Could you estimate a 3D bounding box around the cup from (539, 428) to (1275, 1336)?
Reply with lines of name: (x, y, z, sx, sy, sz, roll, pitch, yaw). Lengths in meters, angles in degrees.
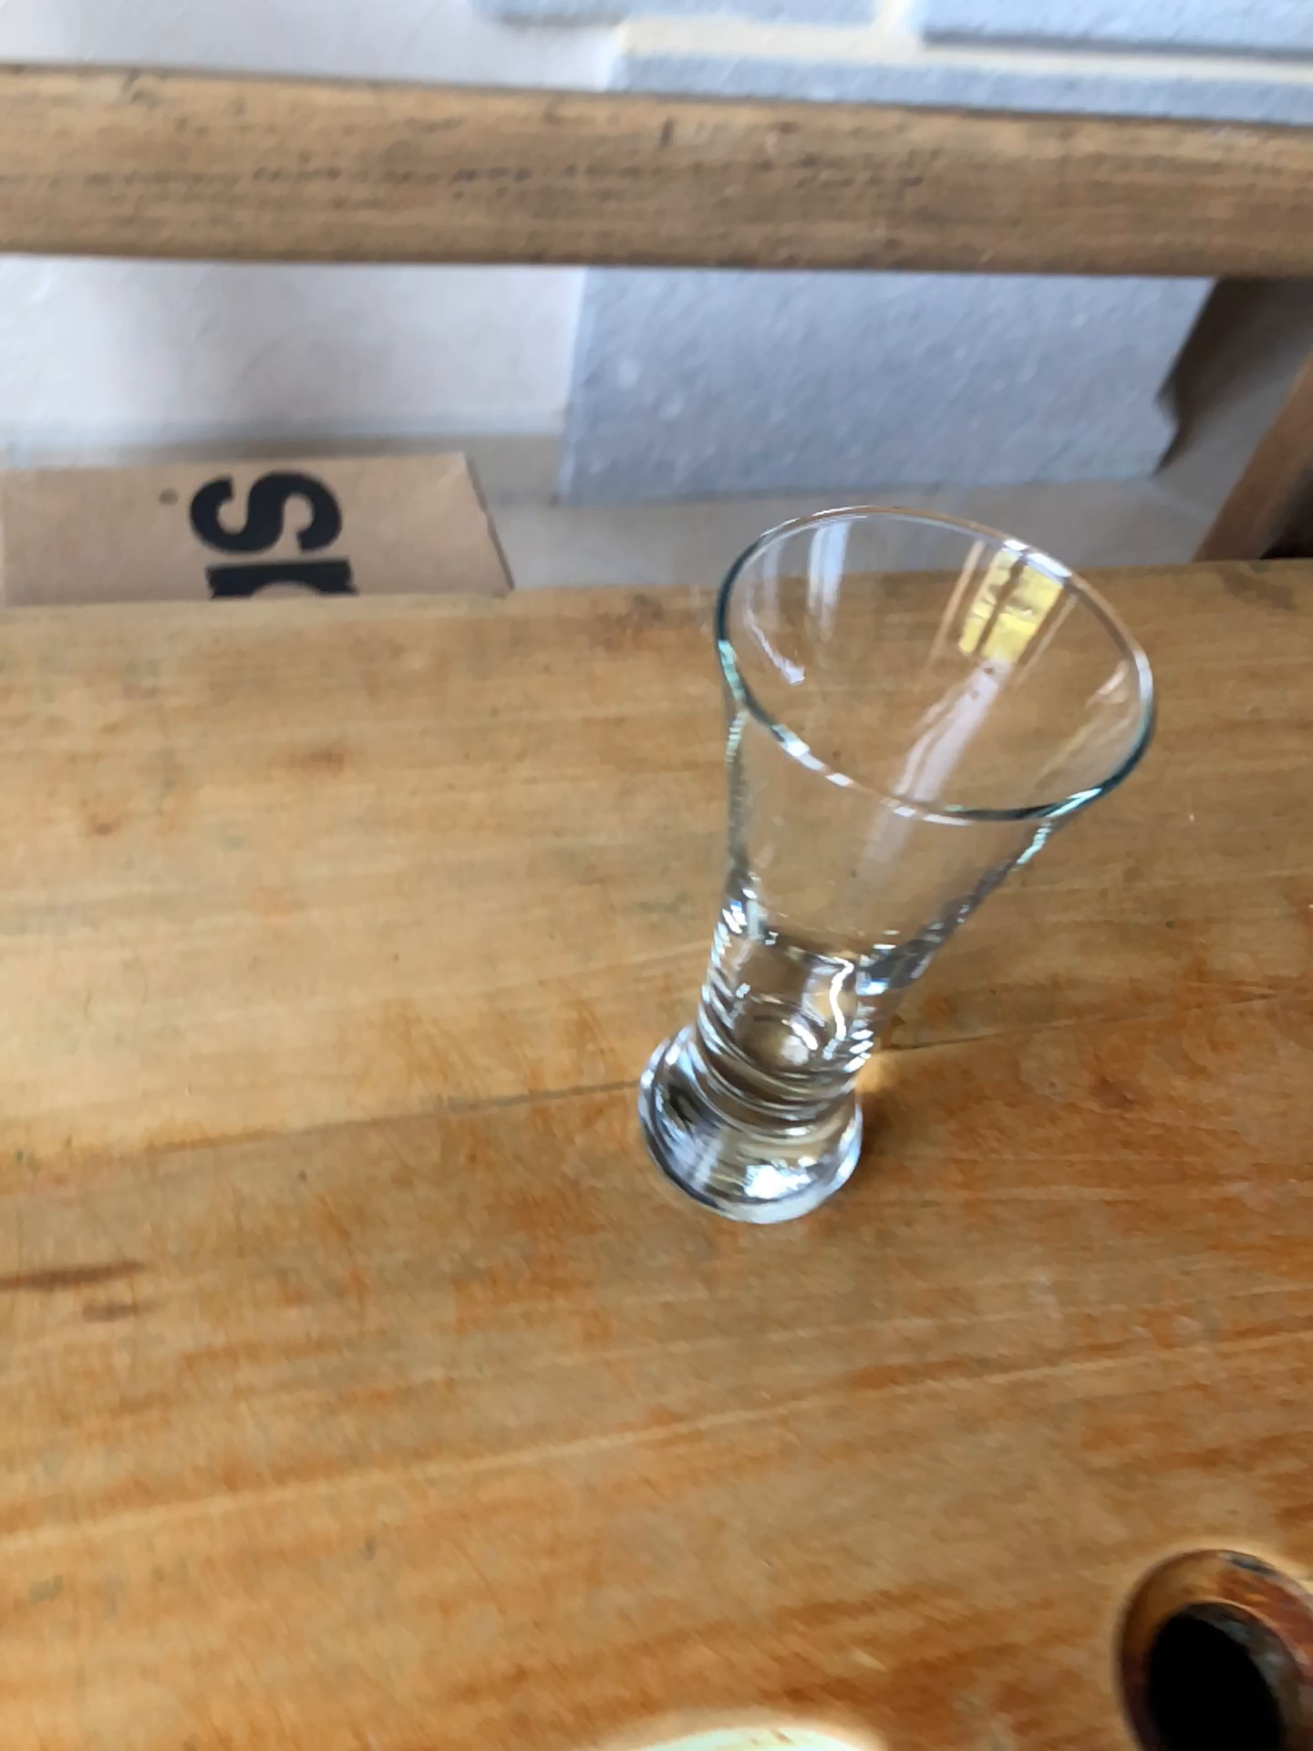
cup: (0.037, 0.009, 0.281, 0.070, 0.149, 0.081, 36, 54, 17)
